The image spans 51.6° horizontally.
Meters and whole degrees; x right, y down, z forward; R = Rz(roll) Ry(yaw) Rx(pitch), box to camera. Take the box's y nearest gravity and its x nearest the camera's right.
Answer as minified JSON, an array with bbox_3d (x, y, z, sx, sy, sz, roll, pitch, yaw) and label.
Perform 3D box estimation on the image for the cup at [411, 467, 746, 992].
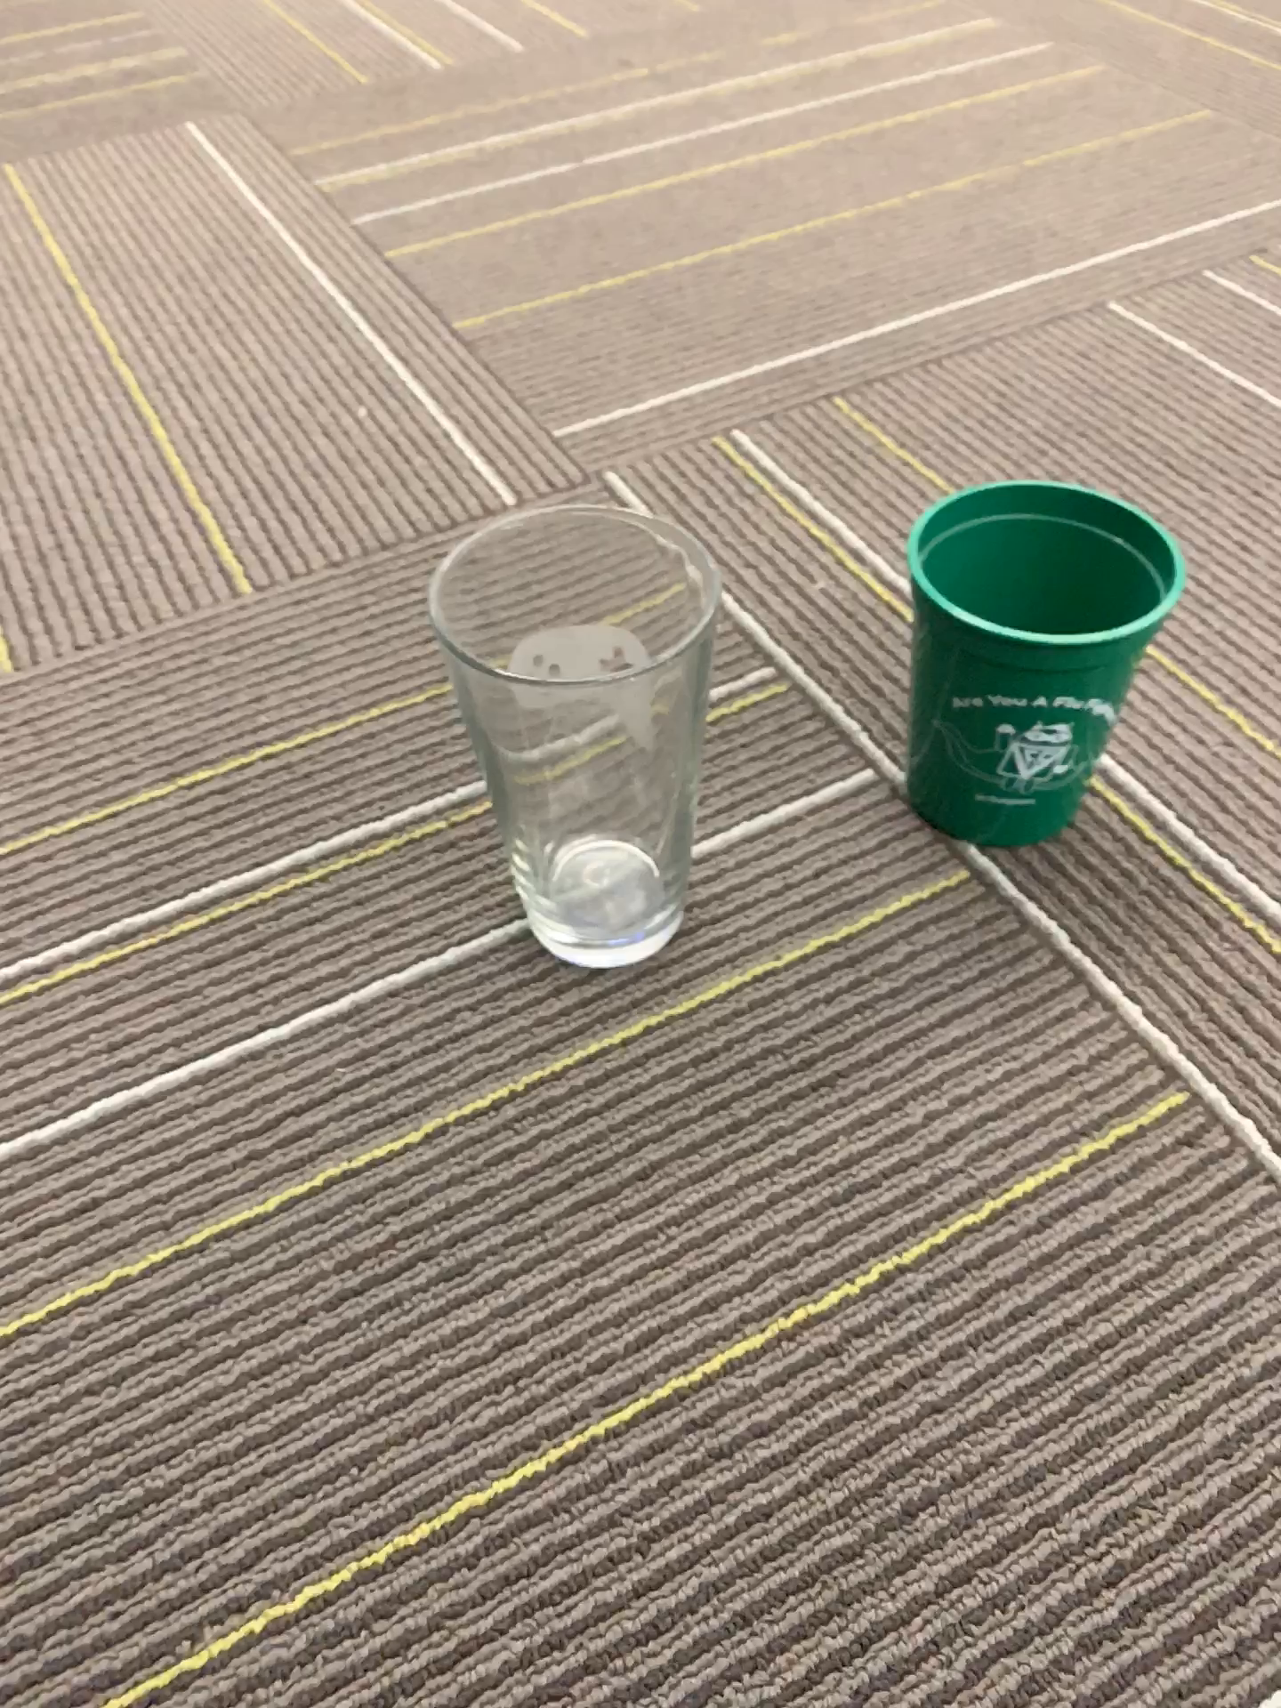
[{"bbox_3d":[-0.019,-0.037,0.440,0.090,0.139,0.090,-2,48,2],"label":"cup"}]

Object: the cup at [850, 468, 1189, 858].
[{"bbox_3d":[0.134,-0.072,0.499,0.100,0.099,0.100,-2,48,2],"label":"cup"}]
